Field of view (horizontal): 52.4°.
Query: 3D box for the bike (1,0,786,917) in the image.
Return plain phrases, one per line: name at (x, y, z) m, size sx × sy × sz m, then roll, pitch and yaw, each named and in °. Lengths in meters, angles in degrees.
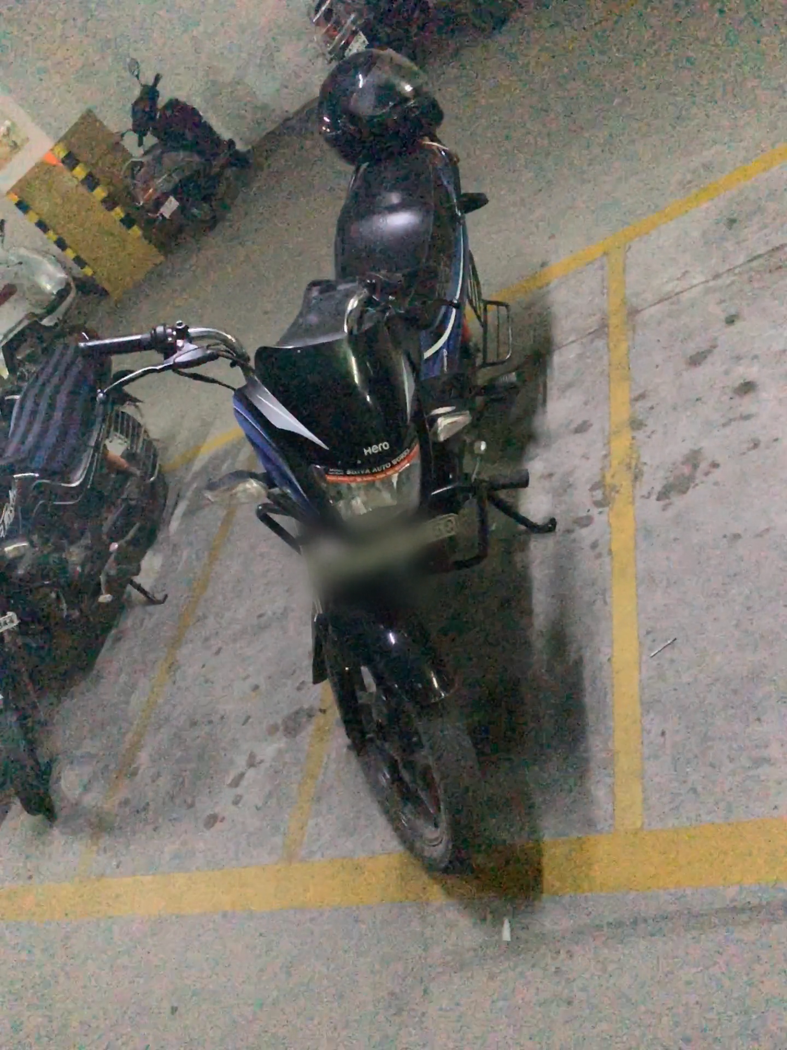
bike at (0.114, -0.254, 1.821) m, size 0.769 × 1.155 × 1.722 m, roll -25°, pitch 40°, yaw 28°
